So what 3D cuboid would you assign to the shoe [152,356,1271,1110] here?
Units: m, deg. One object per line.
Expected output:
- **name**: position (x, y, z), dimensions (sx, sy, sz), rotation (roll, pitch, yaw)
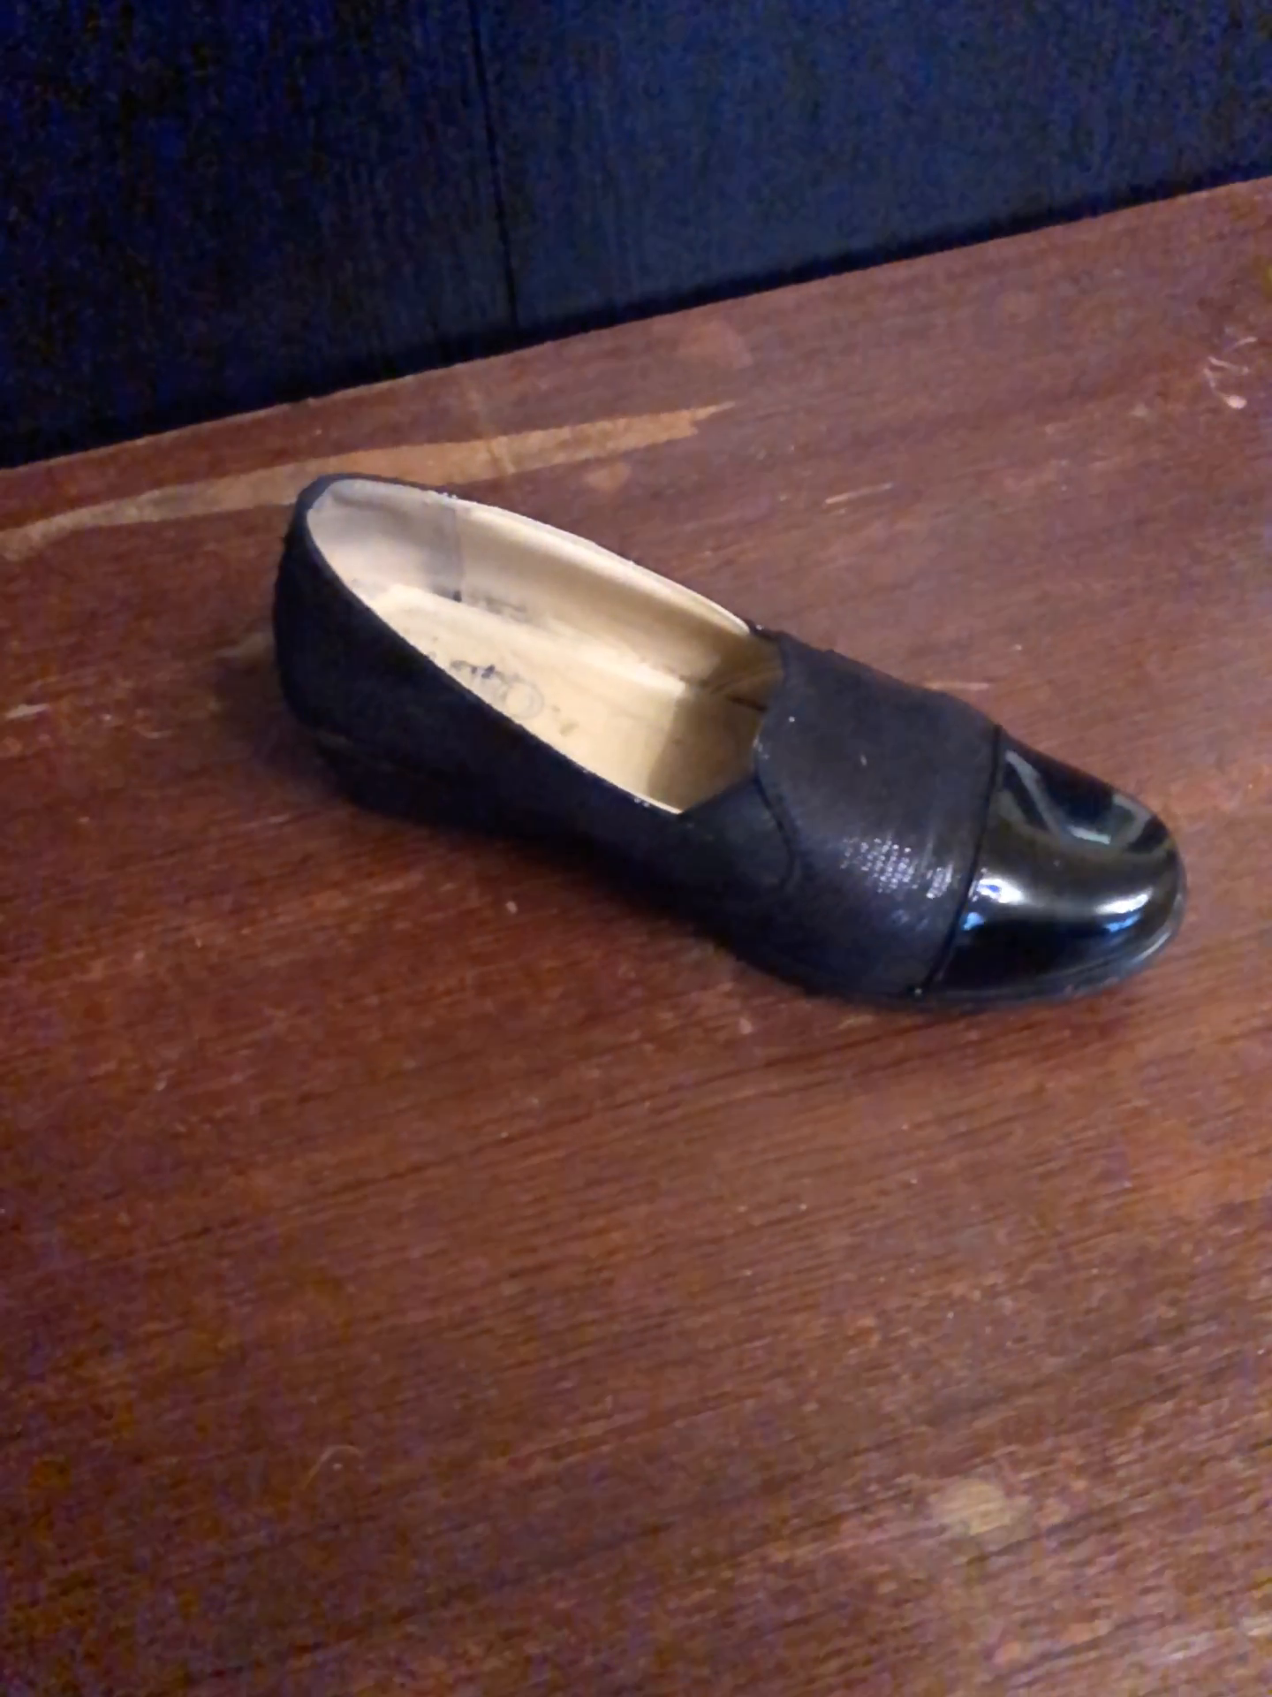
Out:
- **shoe**: position (0.019, -0.032, 0.342), dimensions (0.236, 0.070, 0.090), rotation (19, 58, 10)
